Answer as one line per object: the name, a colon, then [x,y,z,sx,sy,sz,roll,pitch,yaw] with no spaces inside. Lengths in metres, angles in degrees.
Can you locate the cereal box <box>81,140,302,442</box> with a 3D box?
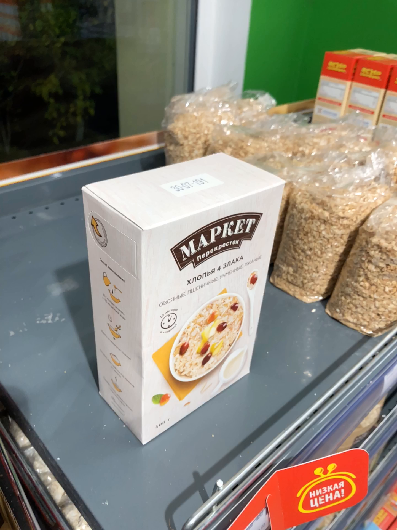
cereal box: [-0.007,0.018,0.340,0.130,0.189,0.070,-23,42,-35]
